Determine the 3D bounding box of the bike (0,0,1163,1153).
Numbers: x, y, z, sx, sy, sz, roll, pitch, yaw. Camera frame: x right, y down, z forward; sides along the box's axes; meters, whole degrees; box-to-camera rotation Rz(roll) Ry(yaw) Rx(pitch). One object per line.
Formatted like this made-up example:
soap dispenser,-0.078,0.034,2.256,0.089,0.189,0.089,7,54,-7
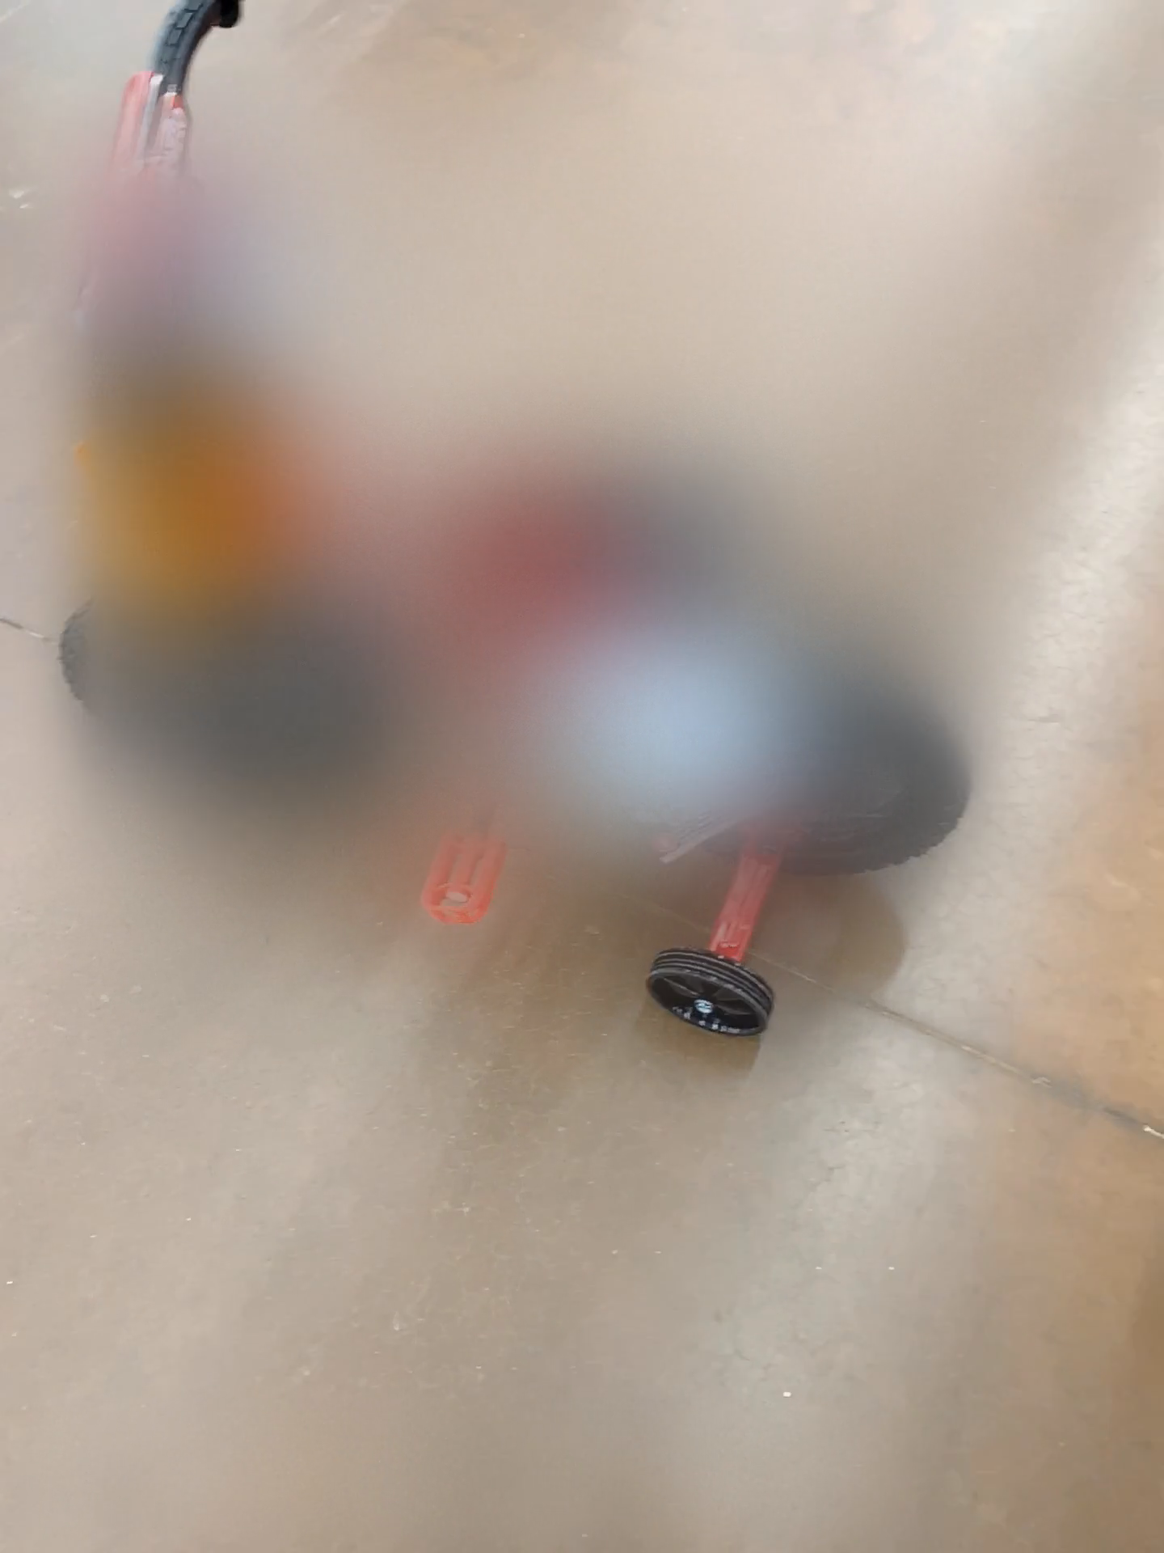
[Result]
bike,-0.090,-0.144,0.757,0.735,0.605,0.440,10,57,8
